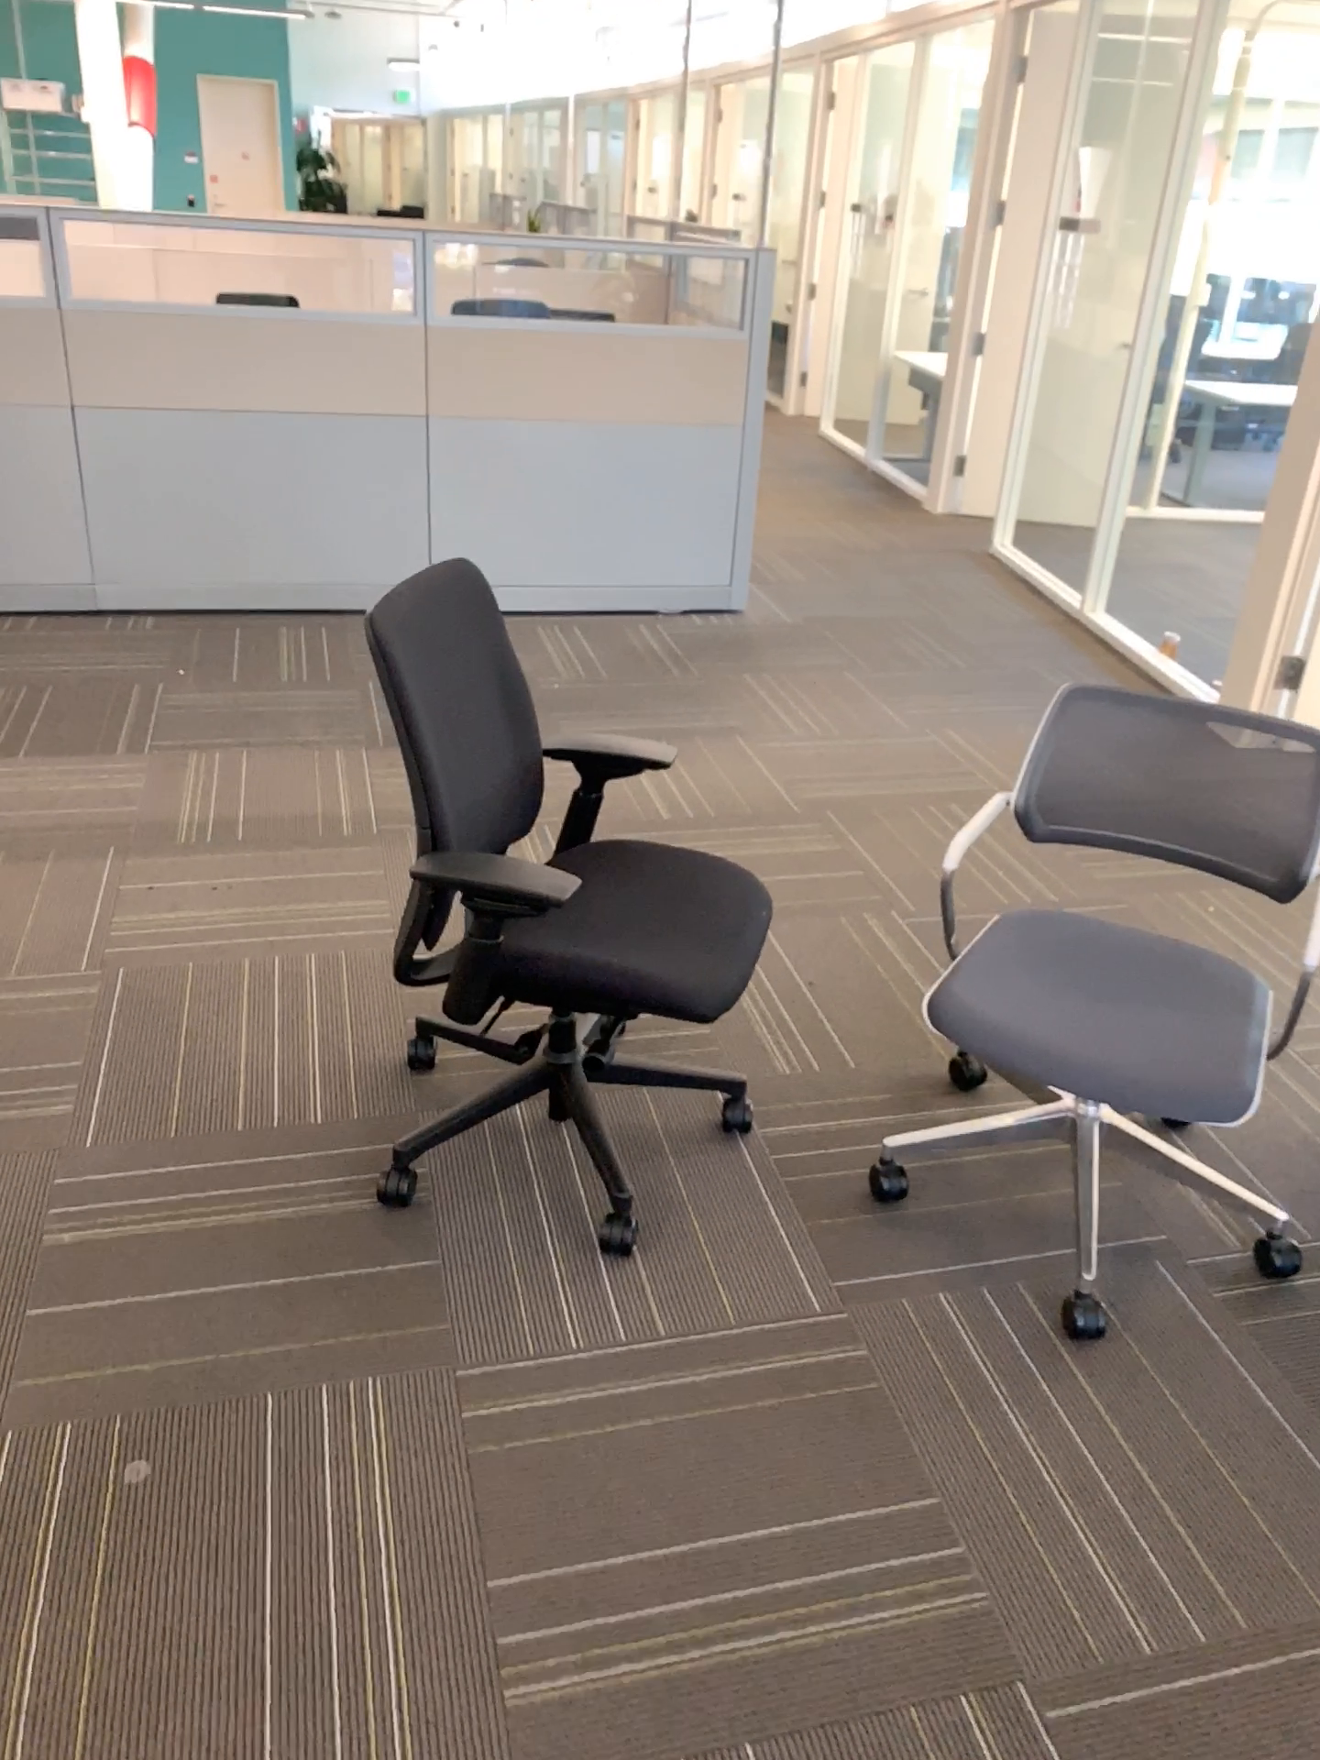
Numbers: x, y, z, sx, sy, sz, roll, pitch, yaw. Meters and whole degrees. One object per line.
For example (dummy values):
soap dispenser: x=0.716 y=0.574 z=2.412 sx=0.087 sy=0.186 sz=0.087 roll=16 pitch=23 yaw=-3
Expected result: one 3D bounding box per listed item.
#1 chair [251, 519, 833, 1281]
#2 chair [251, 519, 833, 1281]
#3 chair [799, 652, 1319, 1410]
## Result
chair: x=-0.140 y=-0.024 z=2.268 sx=0.710 sy=0.915 sz=0.824 roll=7 pitch=27 yaw=7
chair: x=-0.140 y=-0.024 z=2.268 sx=0.710 sy=0.915 sz=0.824 roll=7 pitch=27 yaw=7
chair: x=0.724 y=0.170 z=2.172 sx=0.731 sy=0.775 sz=0.753 roll=14 pitch=28 yaw=18
